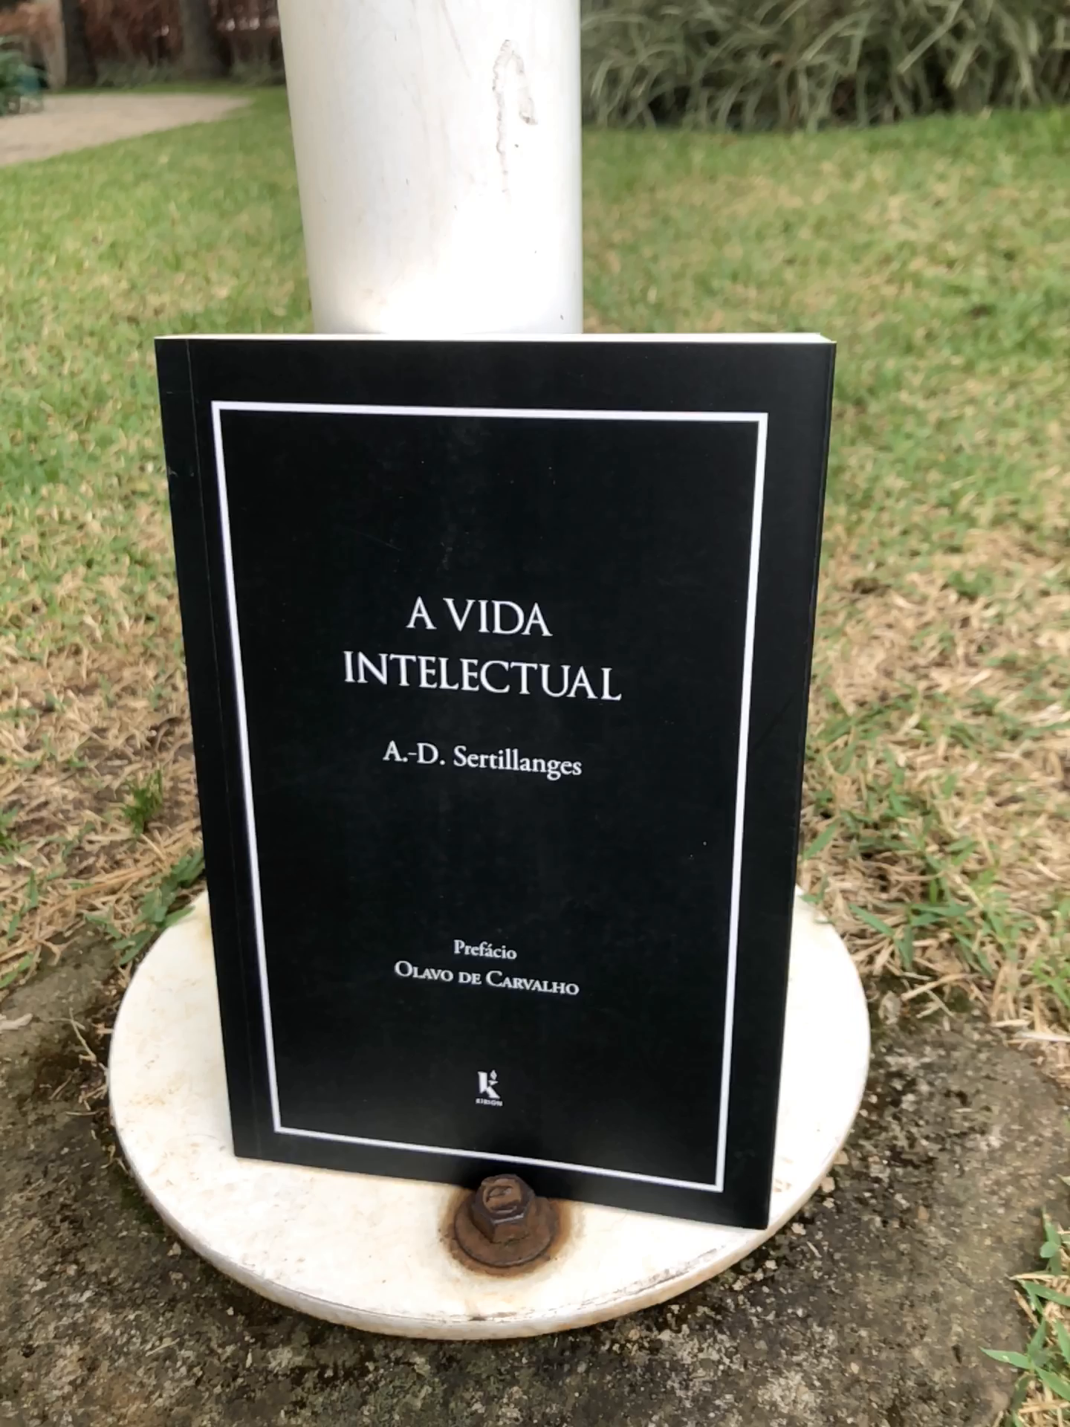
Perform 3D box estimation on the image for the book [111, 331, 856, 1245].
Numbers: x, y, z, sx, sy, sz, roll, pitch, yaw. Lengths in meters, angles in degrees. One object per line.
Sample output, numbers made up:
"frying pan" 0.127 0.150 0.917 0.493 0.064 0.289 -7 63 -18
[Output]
"book" -0.010 0.018 0.261 0.140 0.193 0.025 3 19 12
